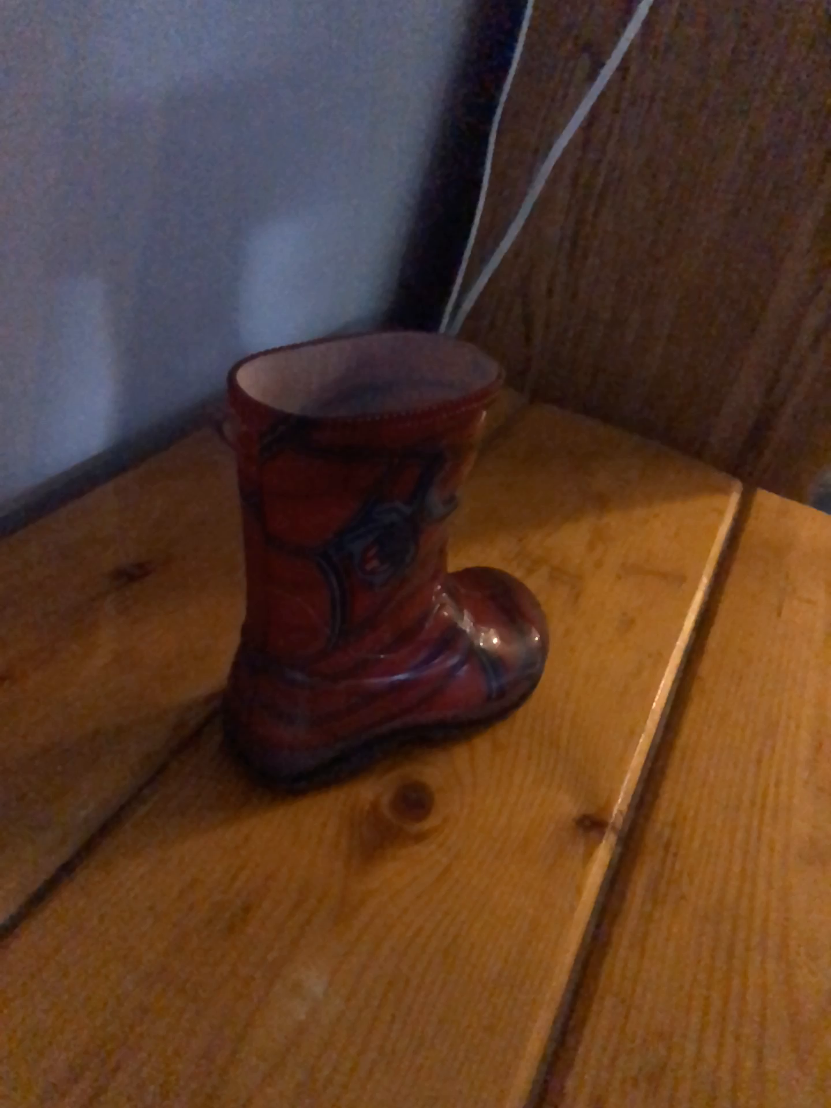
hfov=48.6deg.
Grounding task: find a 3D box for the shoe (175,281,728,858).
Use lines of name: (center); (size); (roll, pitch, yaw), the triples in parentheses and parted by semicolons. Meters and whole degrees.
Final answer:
shoe: (0.008, -0.002, 0.348); (0.160, 0.169, 0.080); (-17, 46, -39)
